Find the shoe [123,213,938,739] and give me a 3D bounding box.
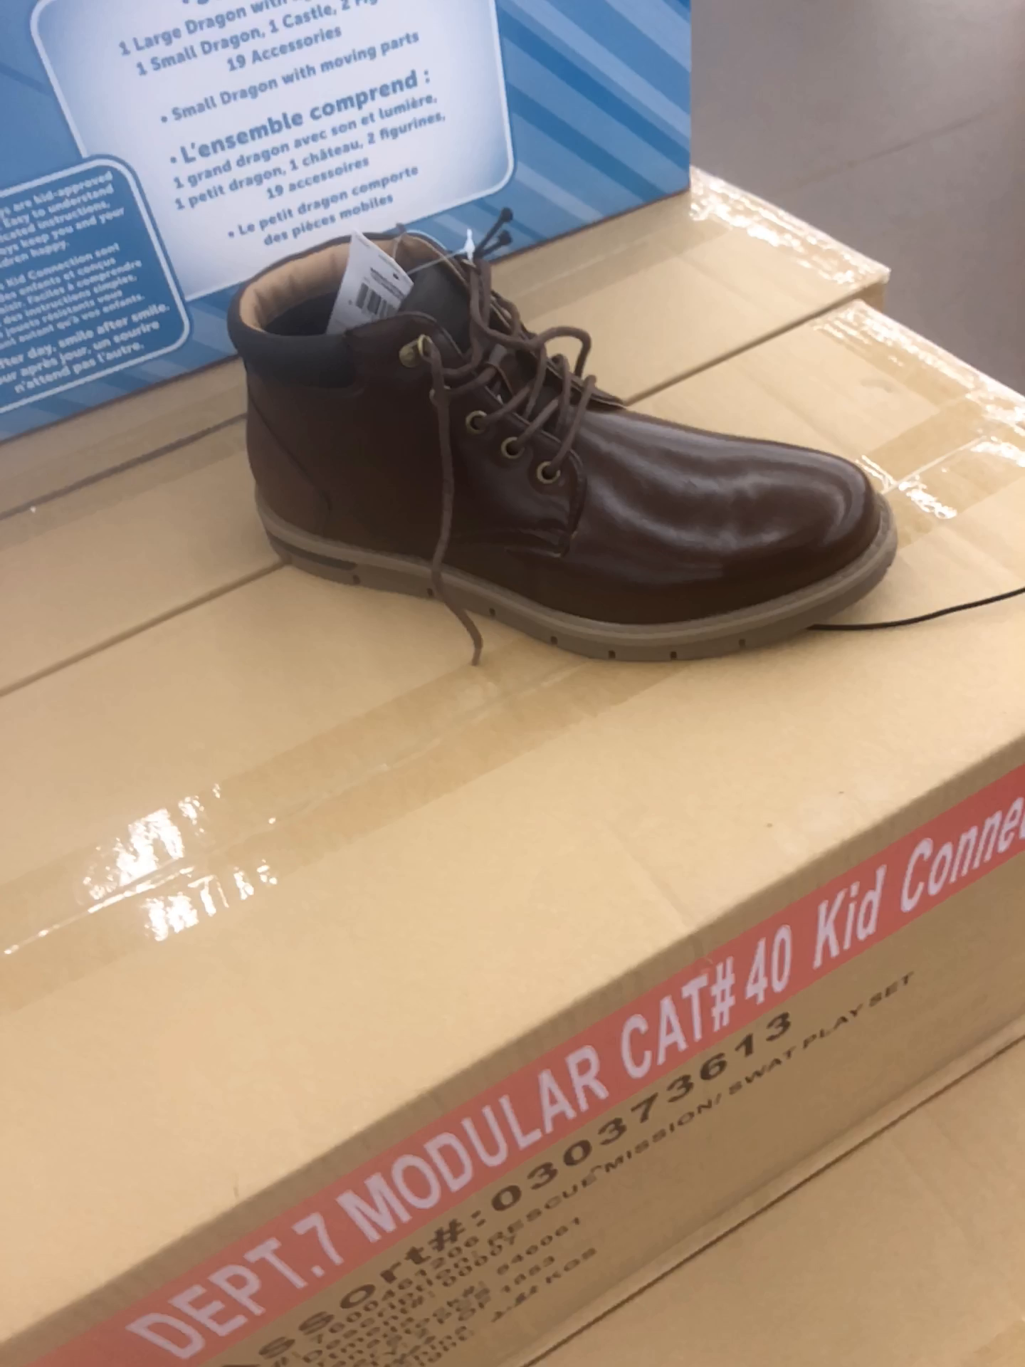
[{"bbox_3d":[0.015,-0.095,0.493,0.290,0.159,0.120,9,52,18],"label":"shoe"}]
